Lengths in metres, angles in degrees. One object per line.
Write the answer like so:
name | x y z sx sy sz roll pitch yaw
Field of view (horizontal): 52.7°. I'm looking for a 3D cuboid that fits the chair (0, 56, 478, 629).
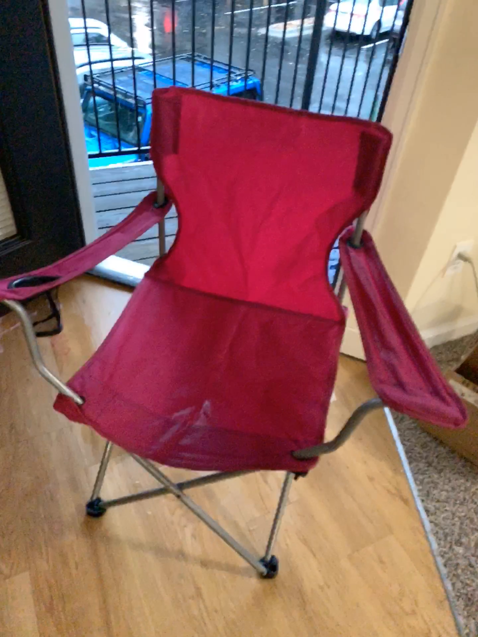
chair | -0.004 0.014 0.988 0.650 0.776 0.673 16 42 12
